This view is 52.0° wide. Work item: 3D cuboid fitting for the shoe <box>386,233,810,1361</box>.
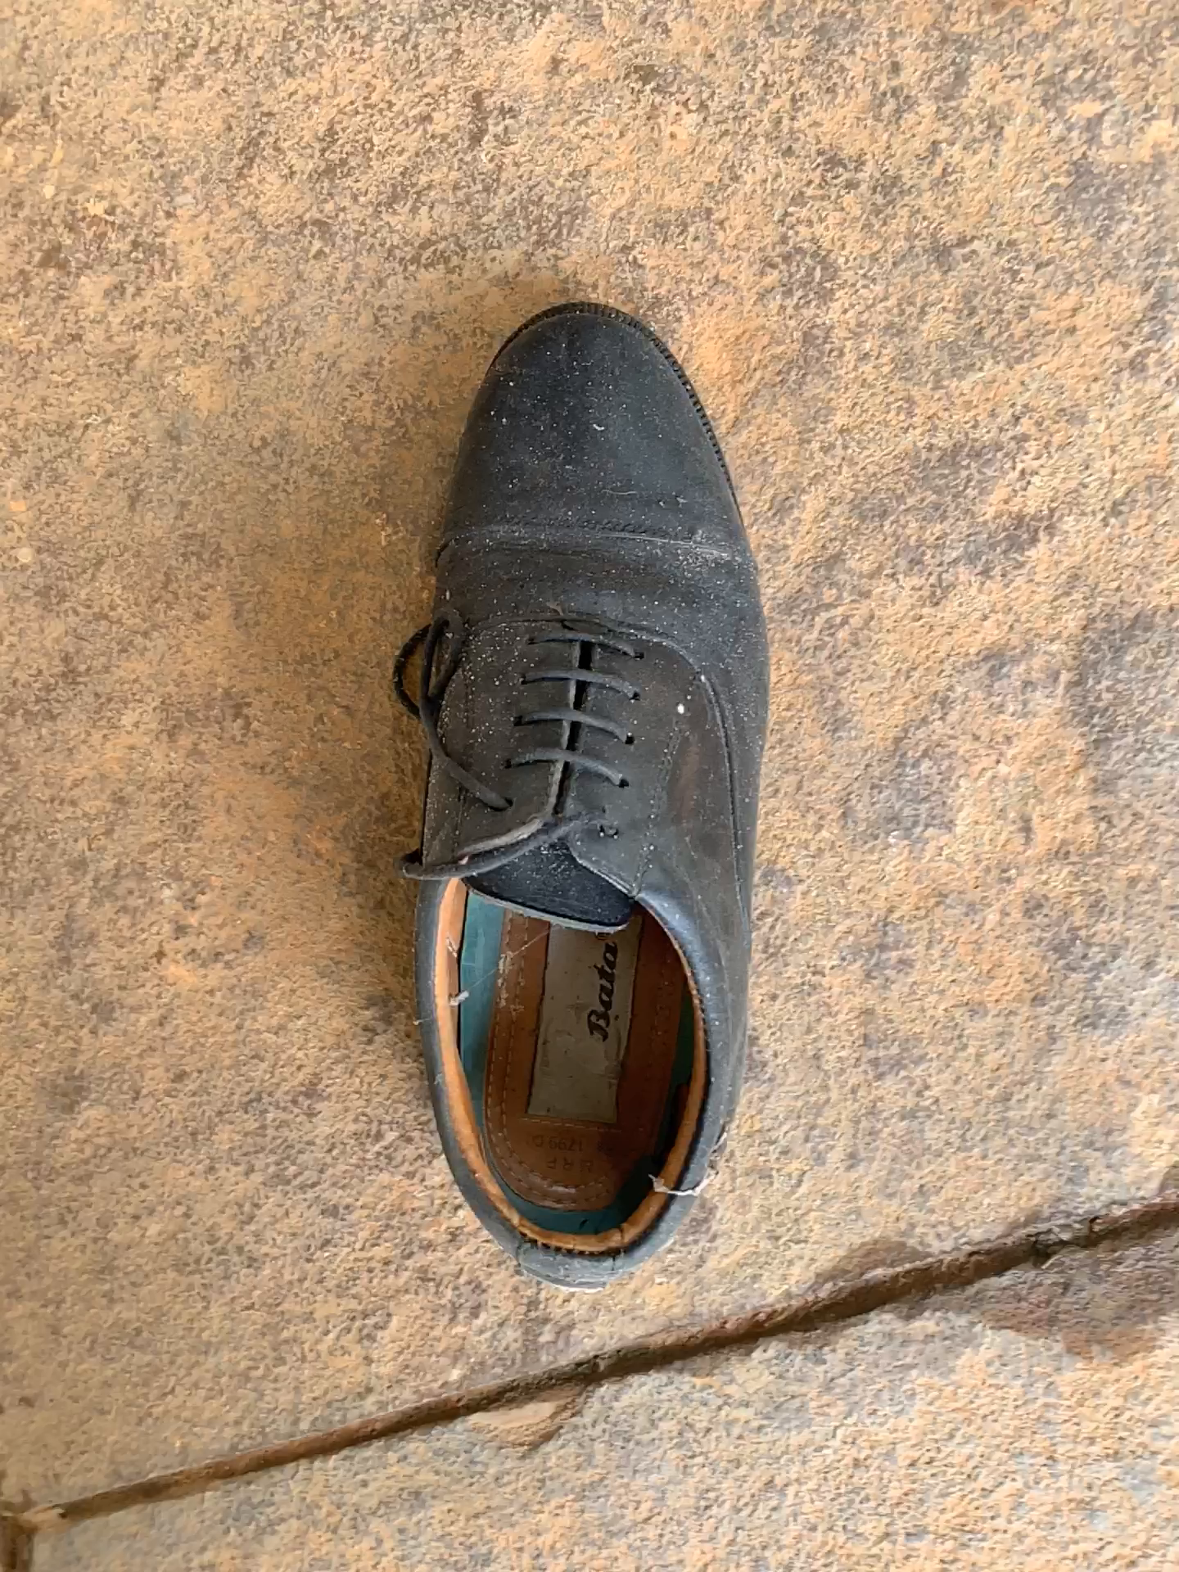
[{"bbox_3d":[0.006,0.001,0.337,0.100,0.090,0.270,0,87,4],"label":"shoe"}]
